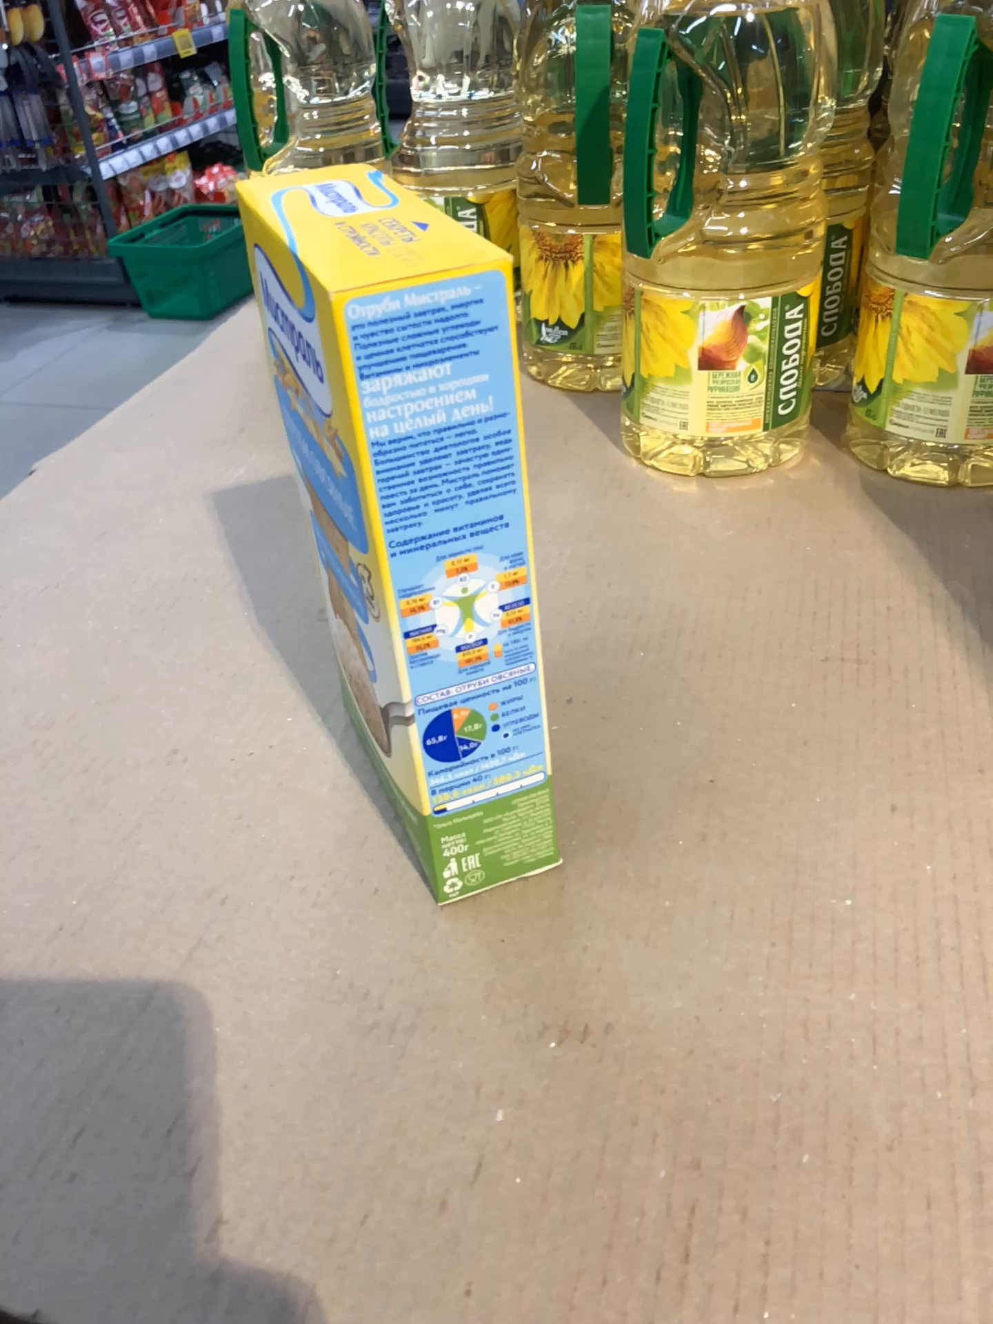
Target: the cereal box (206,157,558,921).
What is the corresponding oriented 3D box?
[{"bbox_3d":[-0.038,-0.044,0.371,0.050,0.209,0.151,-16,36,-14],"label":"cereal box"}]
